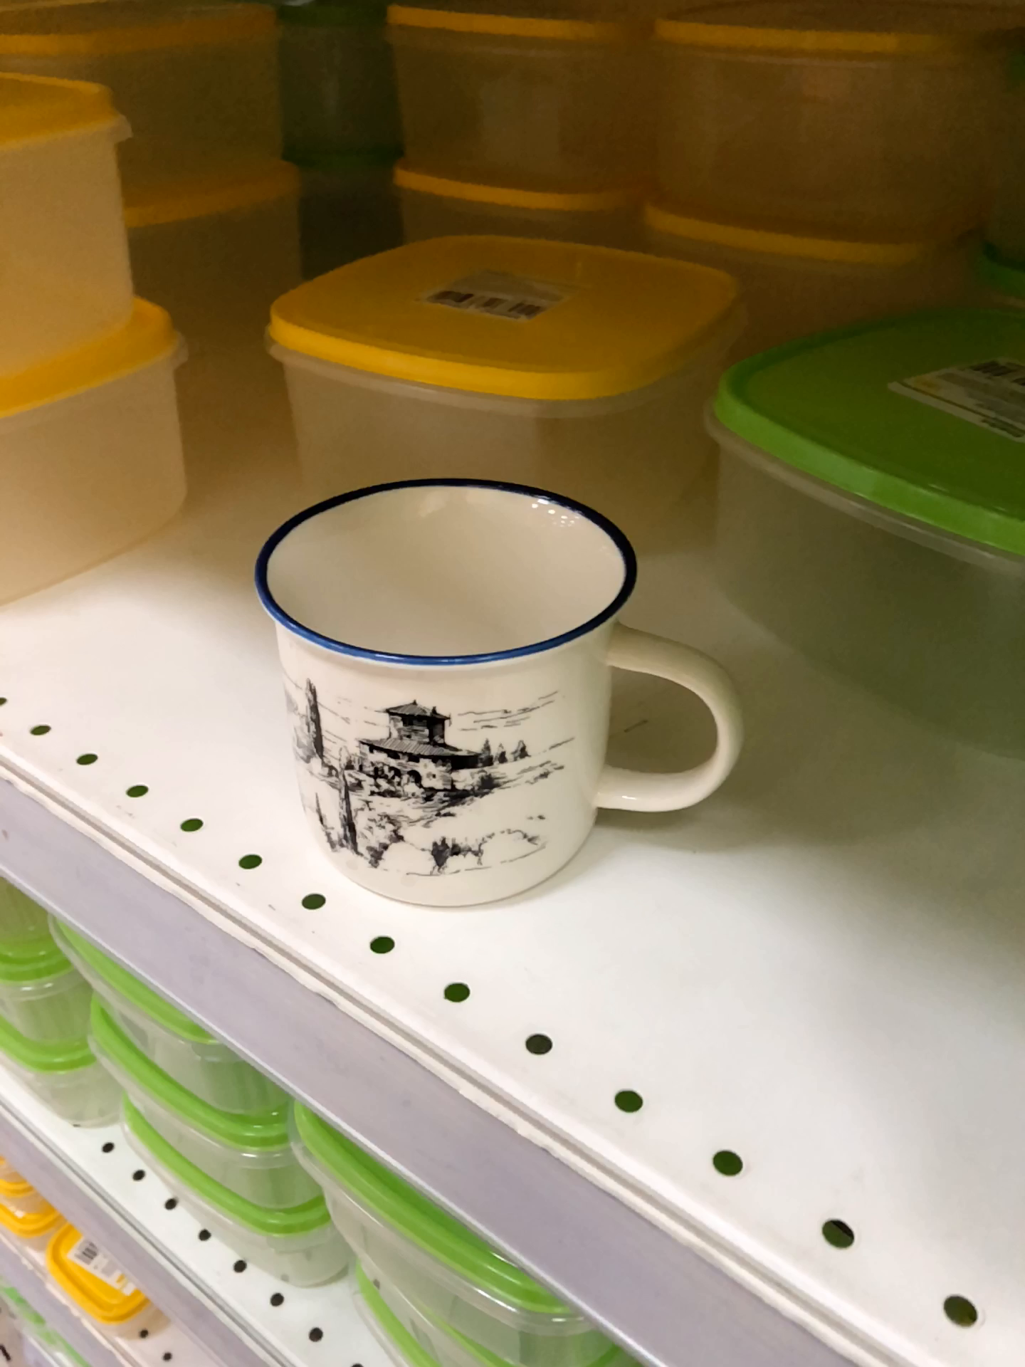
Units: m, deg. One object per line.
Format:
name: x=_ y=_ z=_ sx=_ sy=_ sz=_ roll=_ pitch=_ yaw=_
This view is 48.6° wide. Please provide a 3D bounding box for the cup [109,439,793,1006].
cup: x=-0.011 y=-0.001 z=0.292 sx=0.130 sy=0.068 sz=0.103 roll=17 pitch=39 yaw=24
